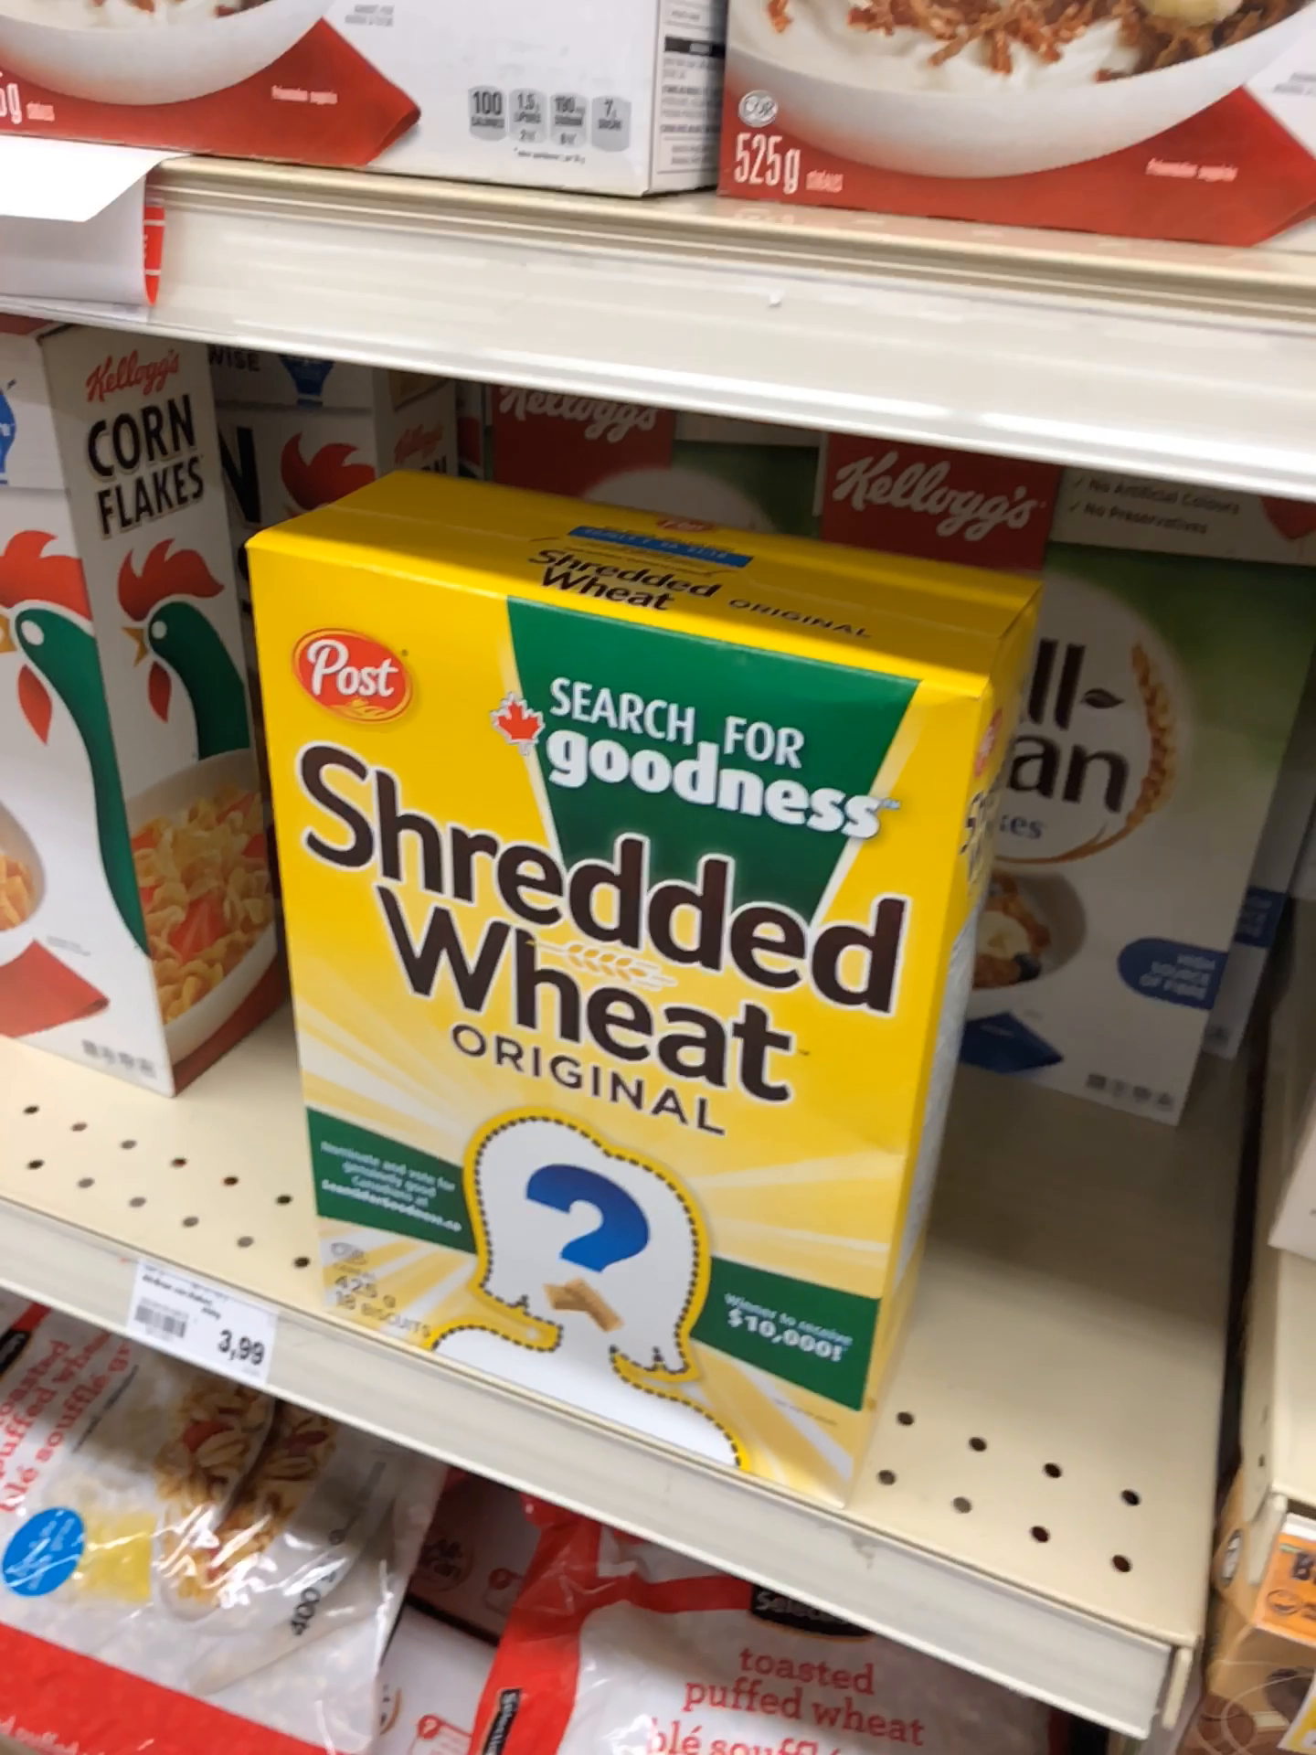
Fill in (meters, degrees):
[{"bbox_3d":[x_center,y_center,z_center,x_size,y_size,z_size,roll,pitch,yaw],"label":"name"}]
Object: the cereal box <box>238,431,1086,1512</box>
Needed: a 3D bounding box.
[{"bbox_3d":[-0.004,0.032,0.443,0.200,0.288,0.081,14,33,18],"label":"cereal box"}]
